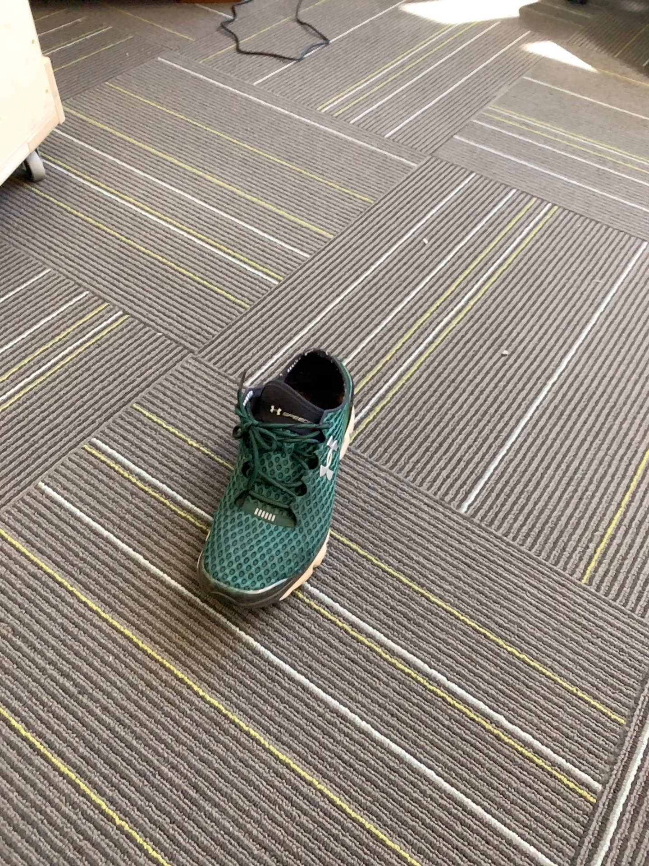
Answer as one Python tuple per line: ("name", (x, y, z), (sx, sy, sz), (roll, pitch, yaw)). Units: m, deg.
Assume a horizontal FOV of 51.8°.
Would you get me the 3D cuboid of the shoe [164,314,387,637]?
("shoe", (-0.037, 0.032, 0.693), (0.120, 0.119, 0.301), (16, 53, 8))
